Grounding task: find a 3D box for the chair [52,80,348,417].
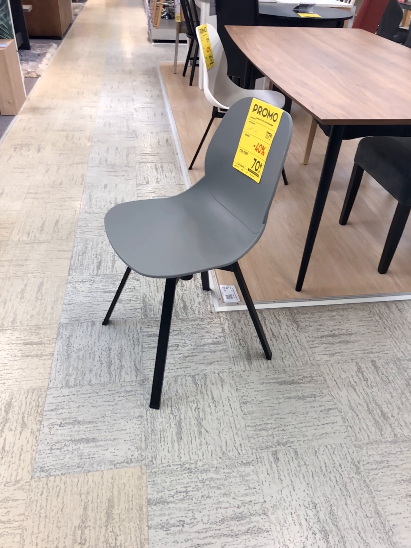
[{"bbox_3d":[-0.042,-0.110,1.368,0.582,0.755,0.511,-18,40,-26],"label":"chair"}]
